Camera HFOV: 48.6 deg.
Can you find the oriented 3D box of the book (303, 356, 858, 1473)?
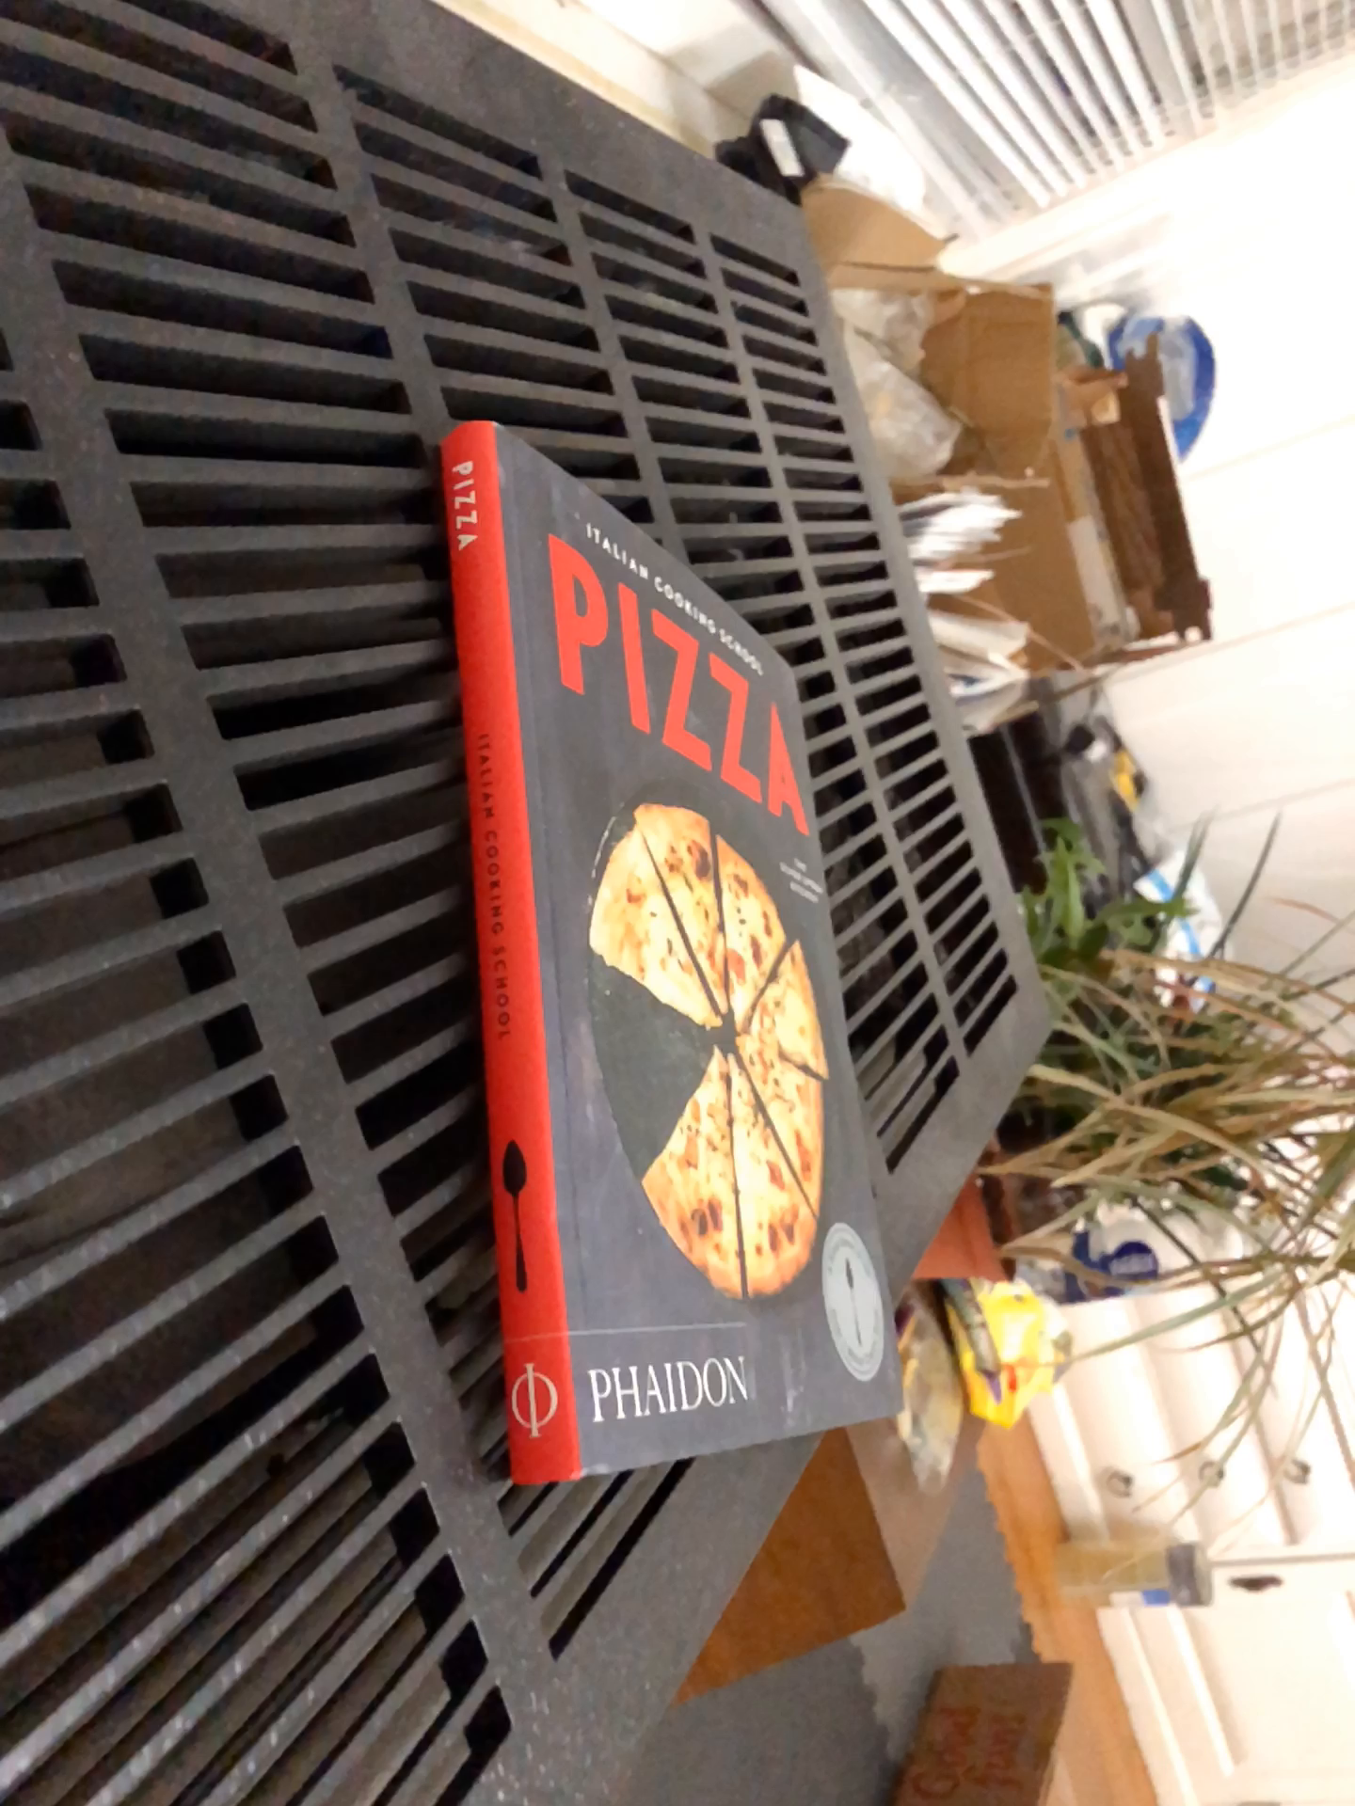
[{"bbox_3d":[-0.018,0.009,0.375,0.181,0.020,0.230,23,55,-57],"label":"book"}]
